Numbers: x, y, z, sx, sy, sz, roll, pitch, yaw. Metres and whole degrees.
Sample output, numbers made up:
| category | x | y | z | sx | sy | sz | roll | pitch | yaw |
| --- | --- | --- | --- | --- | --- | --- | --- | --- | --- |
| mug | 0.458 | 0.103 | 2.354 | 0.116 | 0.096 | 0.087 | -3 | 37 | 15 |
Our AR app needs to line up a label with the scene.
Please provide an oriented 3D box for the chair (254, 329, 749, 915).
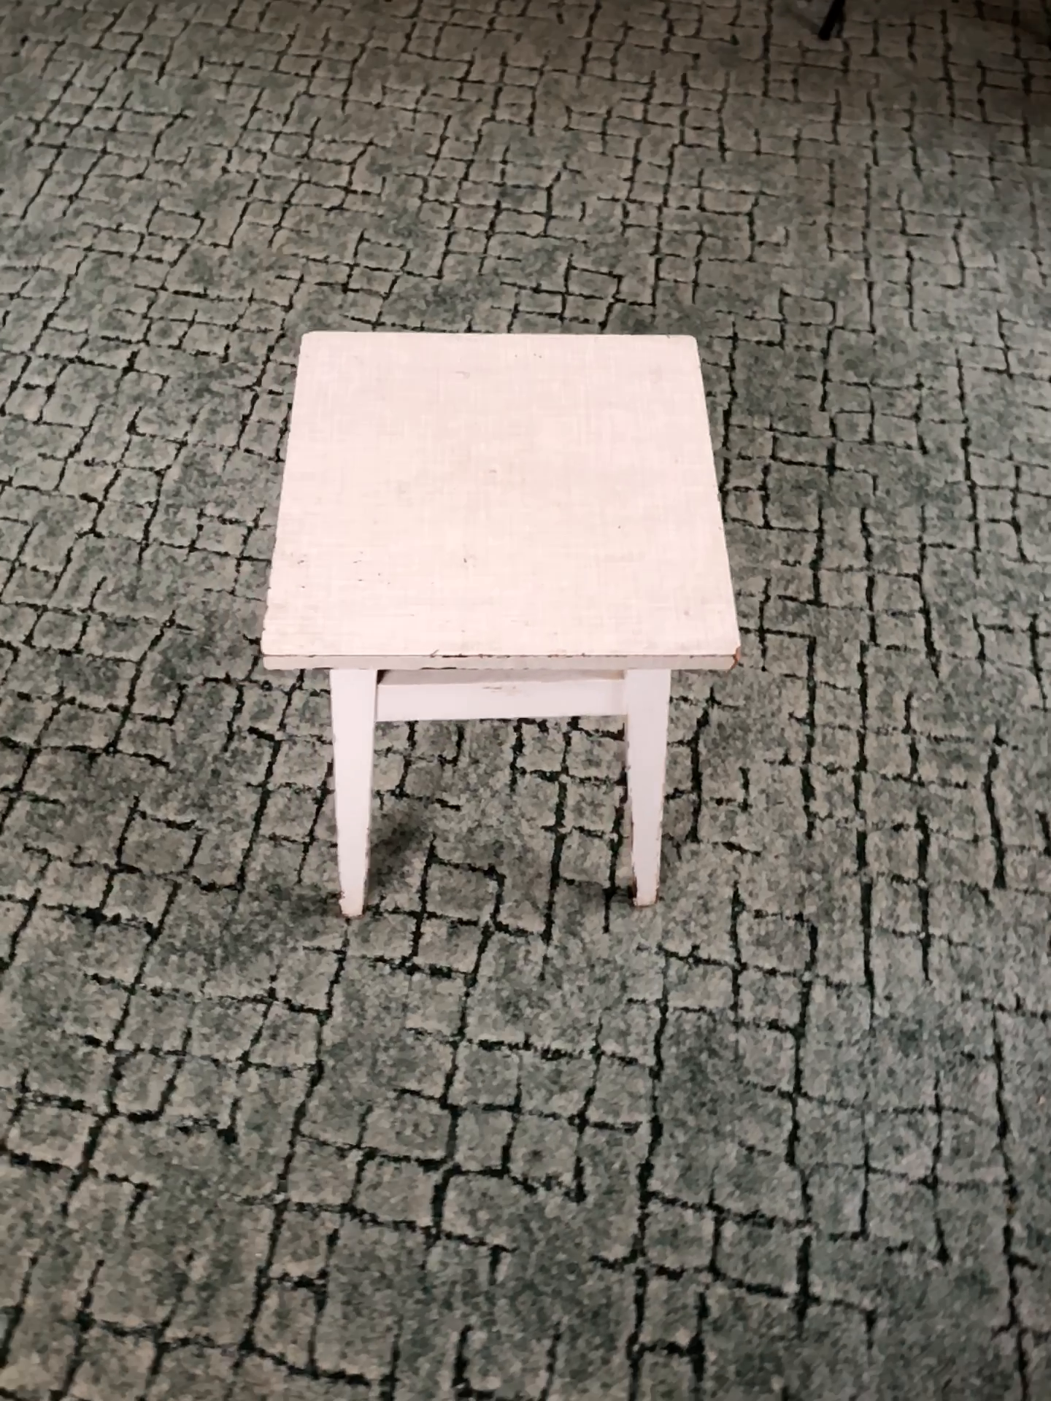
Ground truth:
| category | x | y | z | sx | sy | sz | roll | pitch | yaw |
| --- | --- | --- | --- | --- | --- | --- | --- | --- | --- |
| chair | -0.023 | -0.047 | 1.057 | 0.334 | 0.447 | 0.334 | 0 | 57 | -2 |
